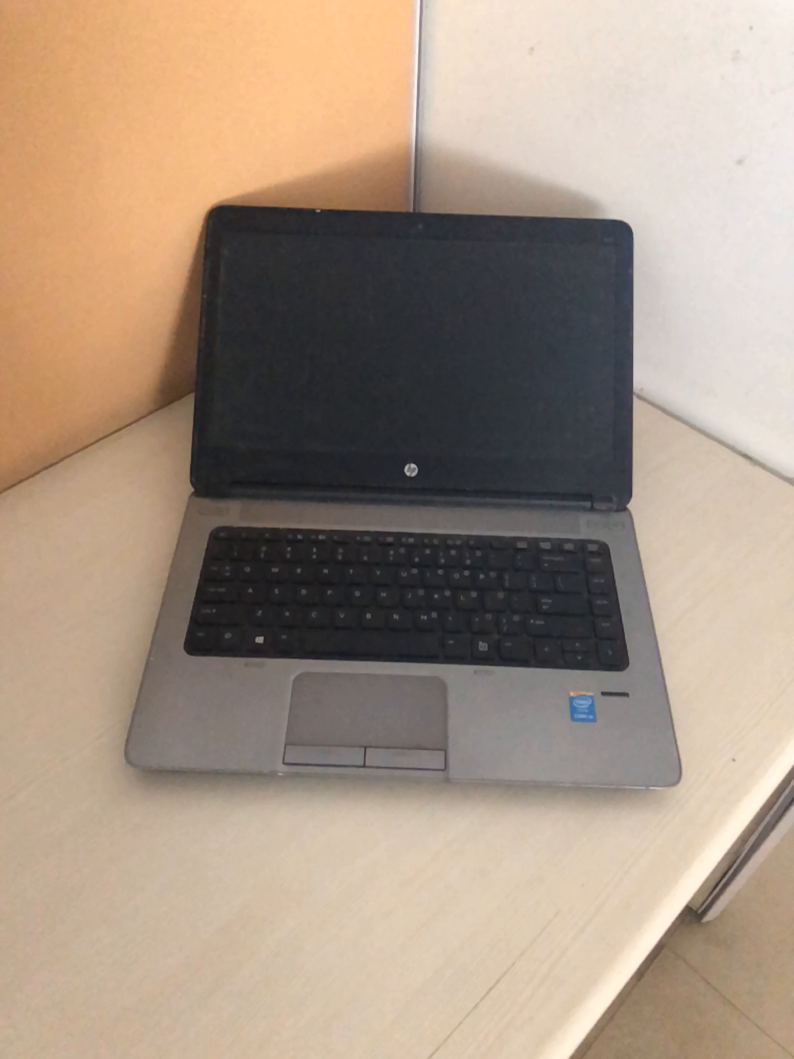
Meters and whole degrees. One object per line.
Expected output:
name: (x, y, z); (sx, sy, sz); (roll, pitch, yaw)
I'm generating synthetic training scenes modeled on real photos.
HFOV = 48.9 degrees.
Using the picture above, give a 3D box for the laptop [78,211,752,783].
laptop: (0.015, -0.051, 0.585); (0.316, 0.125, 0.393); (2, 48, 1)
